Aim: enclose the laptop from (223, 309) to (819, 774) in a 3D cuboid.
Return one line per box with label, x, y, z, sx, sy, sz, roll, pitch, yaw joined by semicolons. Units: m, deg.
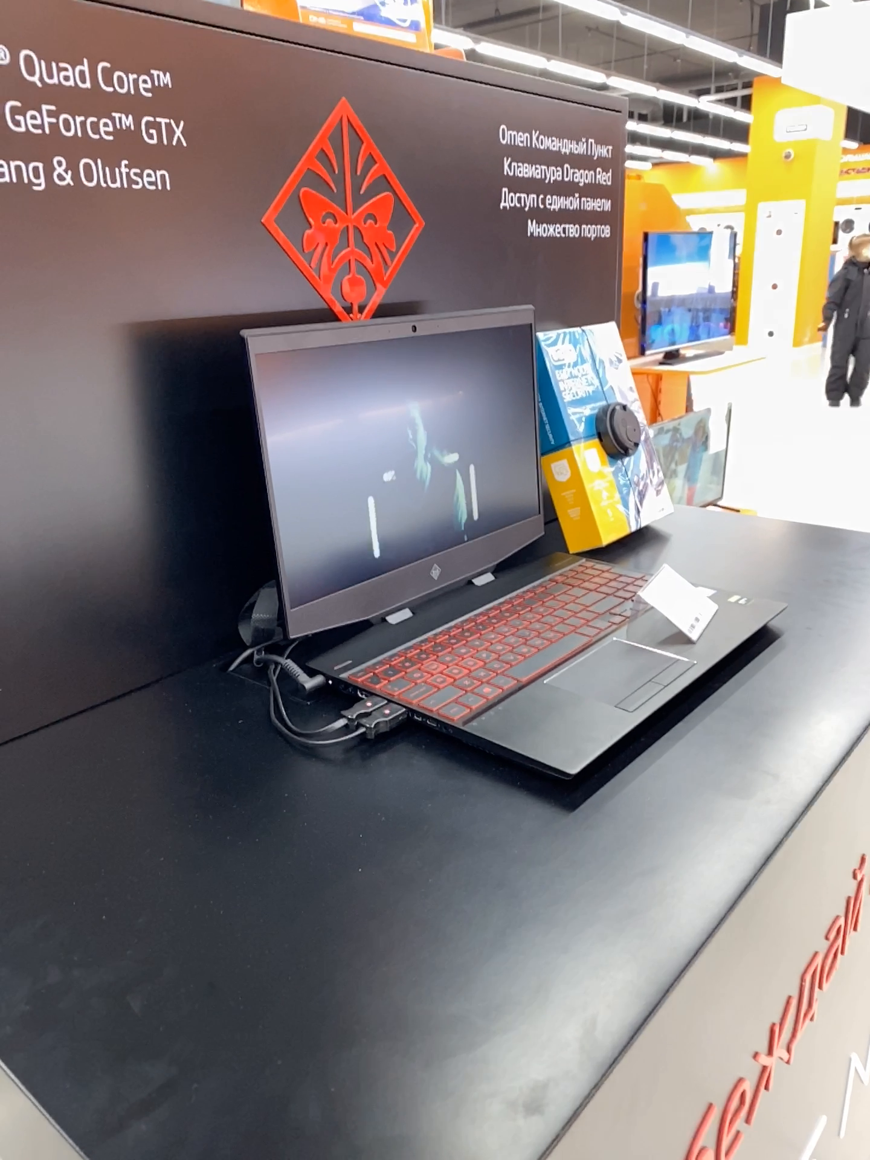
laptop;0.082;-0.078;0.720;0.302;0.247;0.359;15;24;37
